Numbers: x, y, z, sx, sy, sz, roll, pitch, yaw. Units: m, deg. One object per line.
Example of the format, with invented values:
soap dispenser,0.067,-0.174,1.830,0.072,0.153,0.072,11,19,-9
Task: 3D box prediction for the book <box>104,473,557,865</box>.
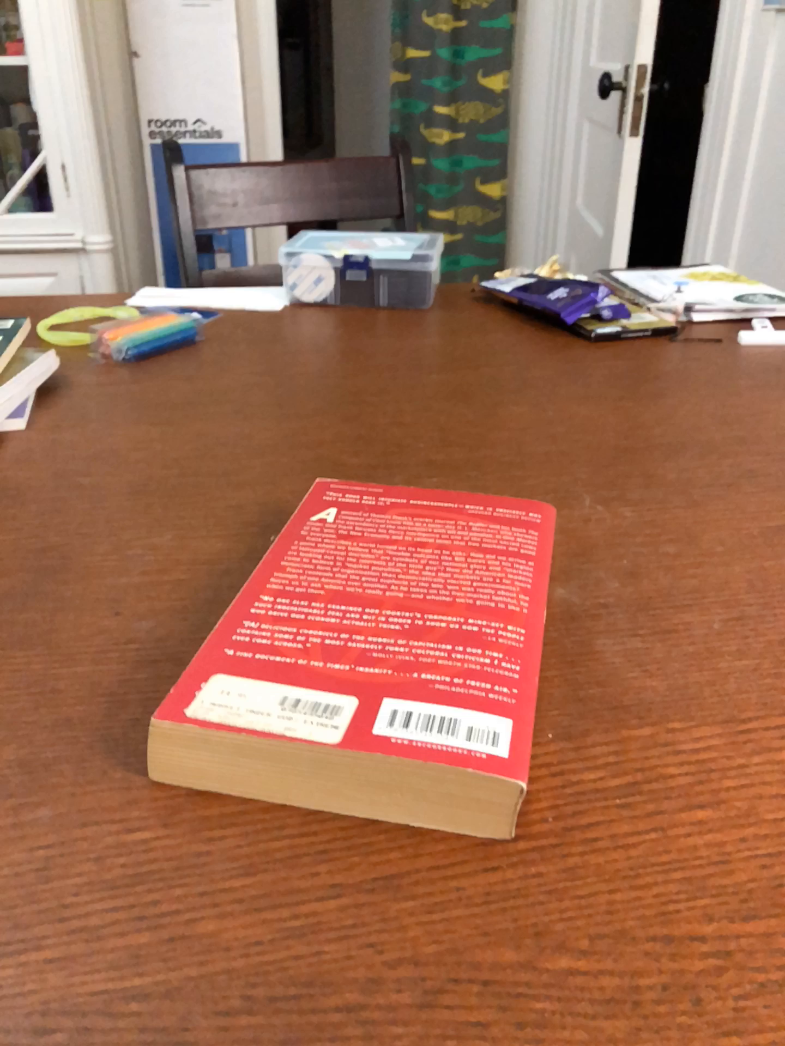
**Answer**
book,-0.006,0.041,0.377,0.140,0.030,0.211,6,28,11
